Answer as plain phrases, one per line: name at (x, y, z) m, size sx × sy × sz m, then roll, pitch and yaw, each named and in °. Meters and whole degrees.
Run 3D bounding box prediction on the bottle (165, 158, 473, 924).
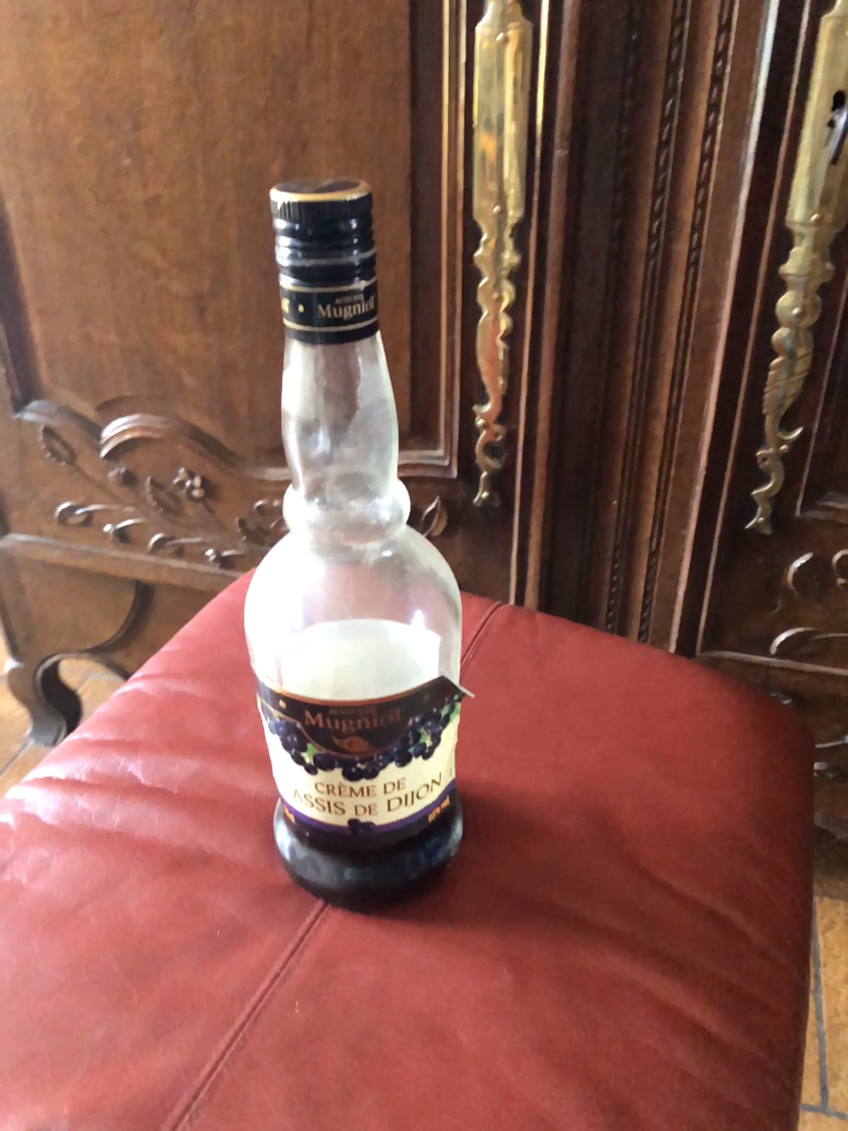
bottle at (-0.029, 0.005, 0.350) m, size 0.080 × 0.278 × 0.080 m, roll -1°, pitch 31°, yaw 0°
